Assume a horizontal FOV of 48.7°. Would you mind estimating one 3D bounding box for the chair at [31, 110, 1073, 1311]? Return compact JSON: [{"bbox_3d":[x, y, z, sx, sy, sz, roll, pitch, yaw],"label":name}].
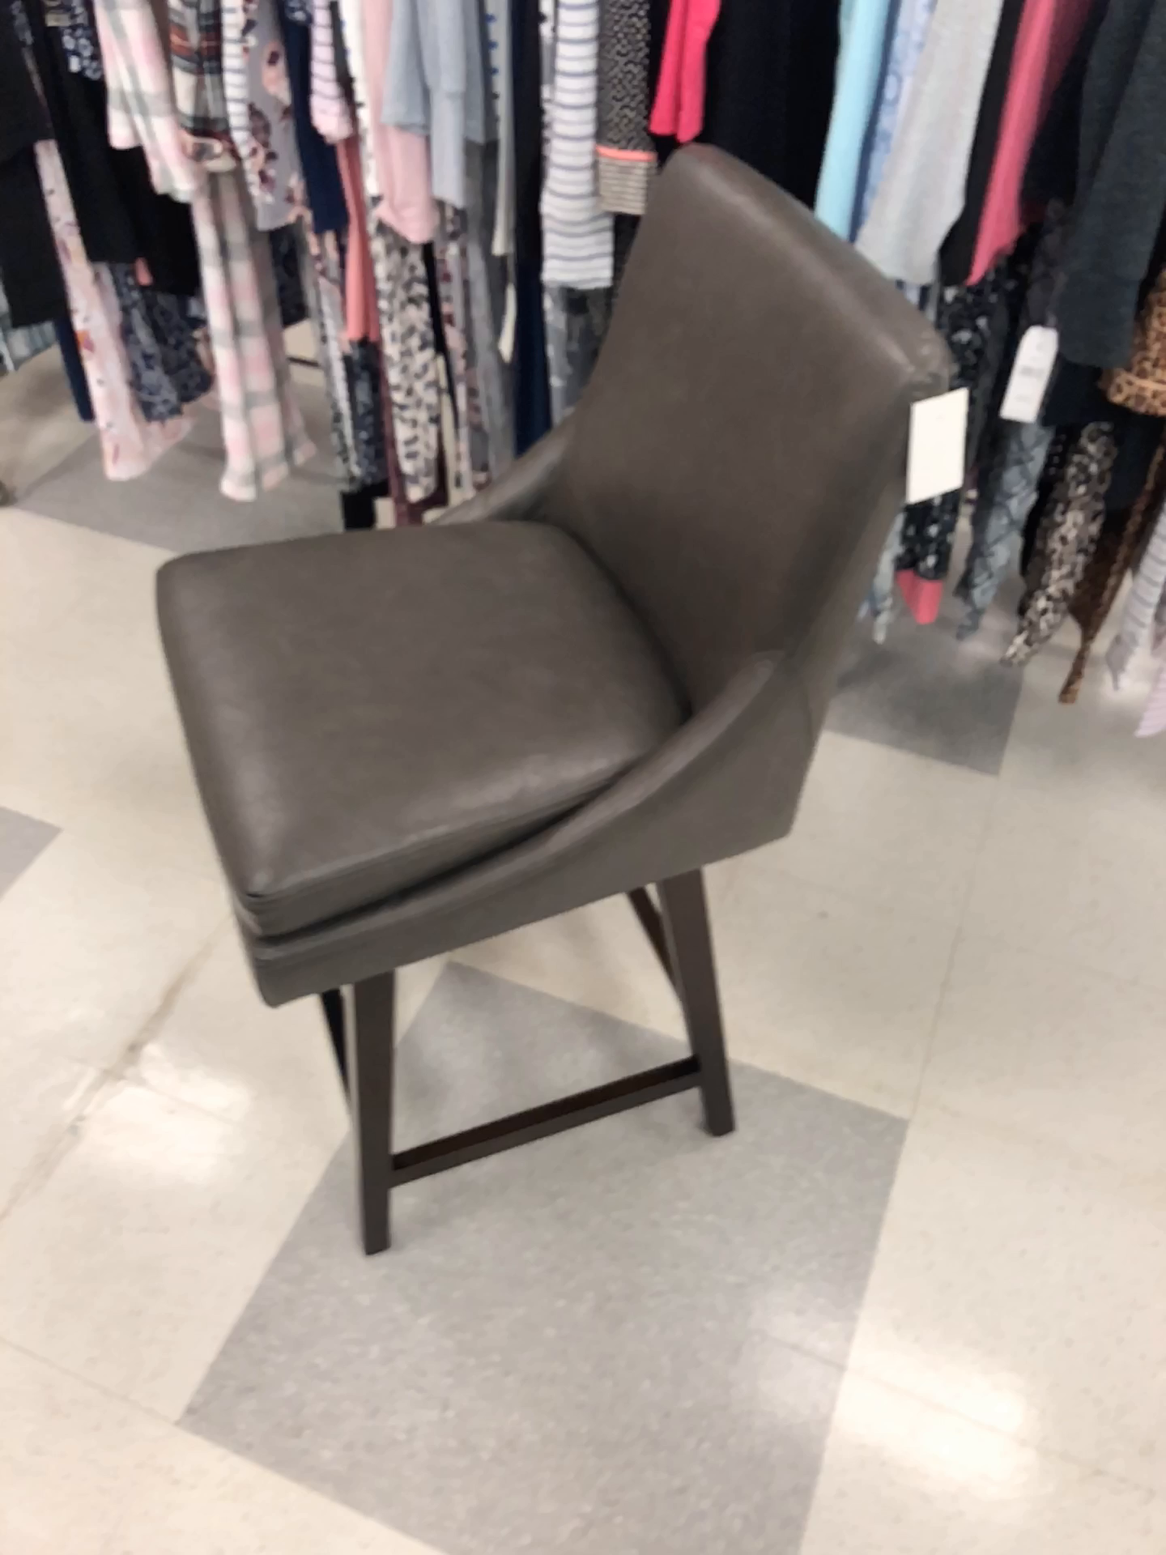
[{"bbox_3d":[-0.060,-0.017,1.205,0.579,0.918,0.494,-15,48,-14],"label":"chair"}]
